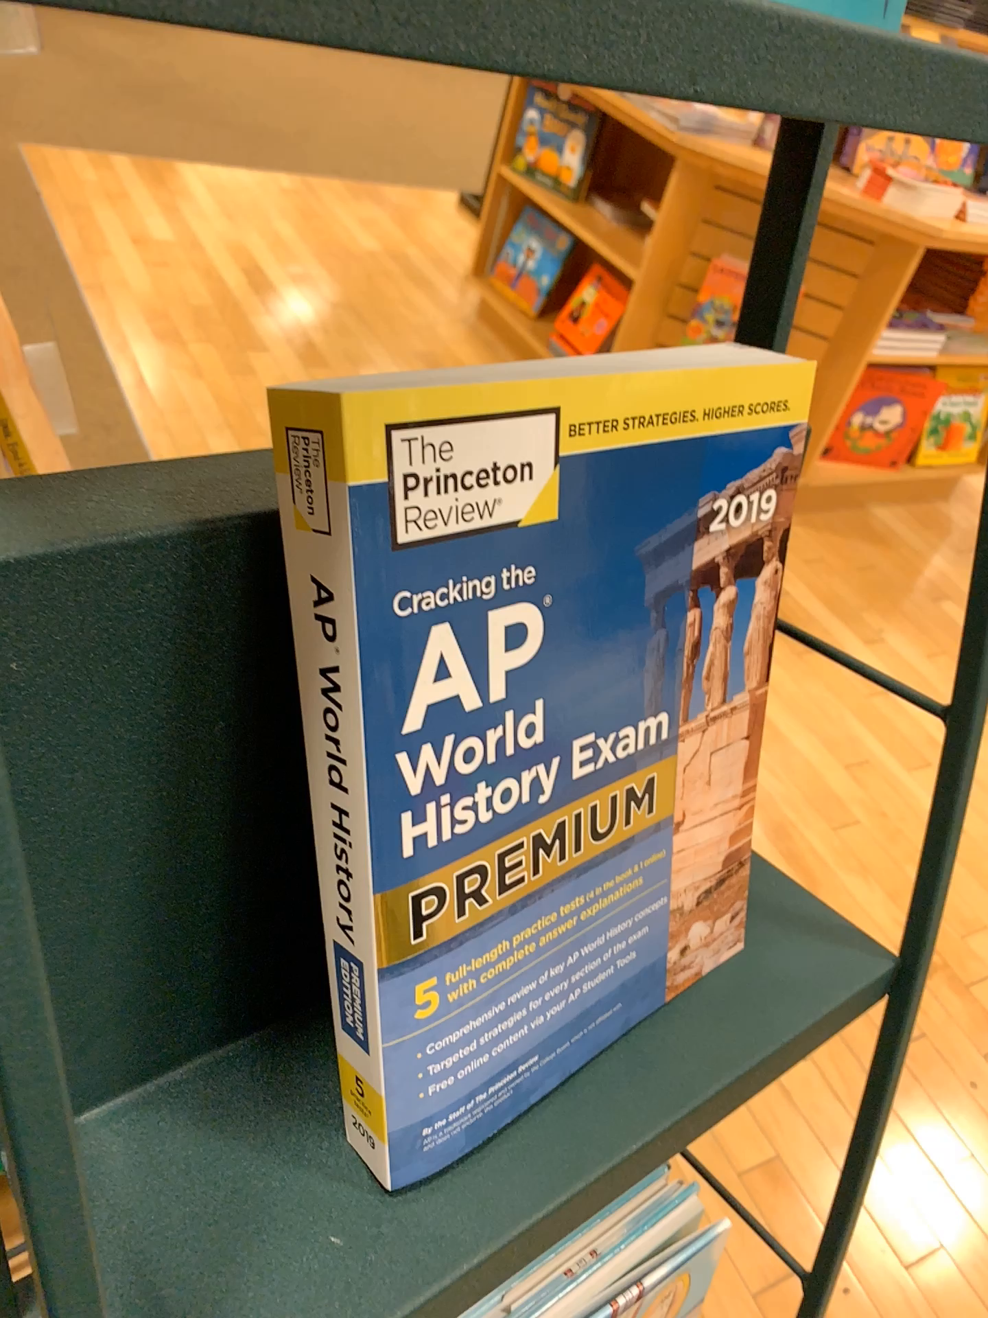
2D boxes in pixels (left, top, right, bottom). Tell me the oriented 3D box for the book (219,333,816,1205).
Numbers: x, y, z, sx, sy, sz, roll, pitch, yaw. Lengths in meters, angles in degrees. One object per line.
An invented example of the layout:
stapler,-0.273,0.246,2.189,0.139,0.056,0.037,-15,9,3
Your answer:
book,0.025,0.025,0.386,0.215,0.269,0.057,-18,26,-37
